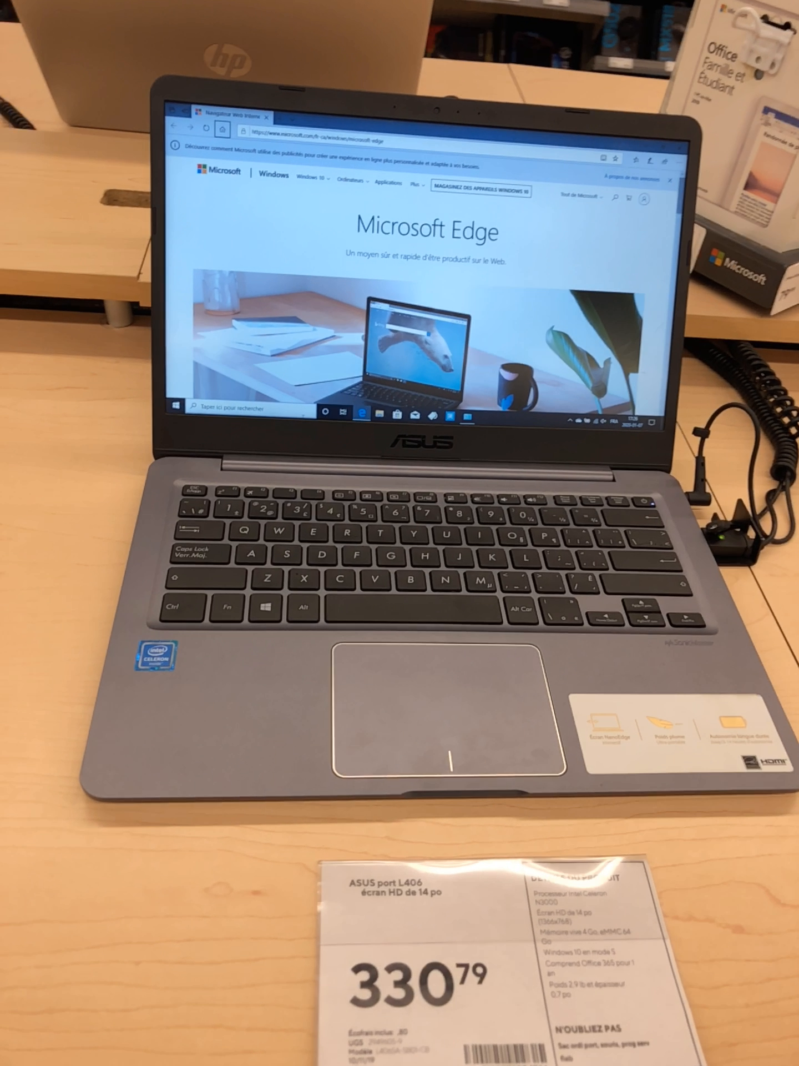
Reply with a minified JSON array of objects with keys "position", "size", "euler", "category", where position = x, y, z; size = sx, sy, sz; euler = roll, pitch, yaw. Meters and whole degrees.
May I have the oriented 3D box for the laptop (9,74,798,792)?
[{"position":[0.024,-0.068,0.440],"size":[0.309,0.172,0.328],"euler":[1,45,-6],"category":"laptop"}]
